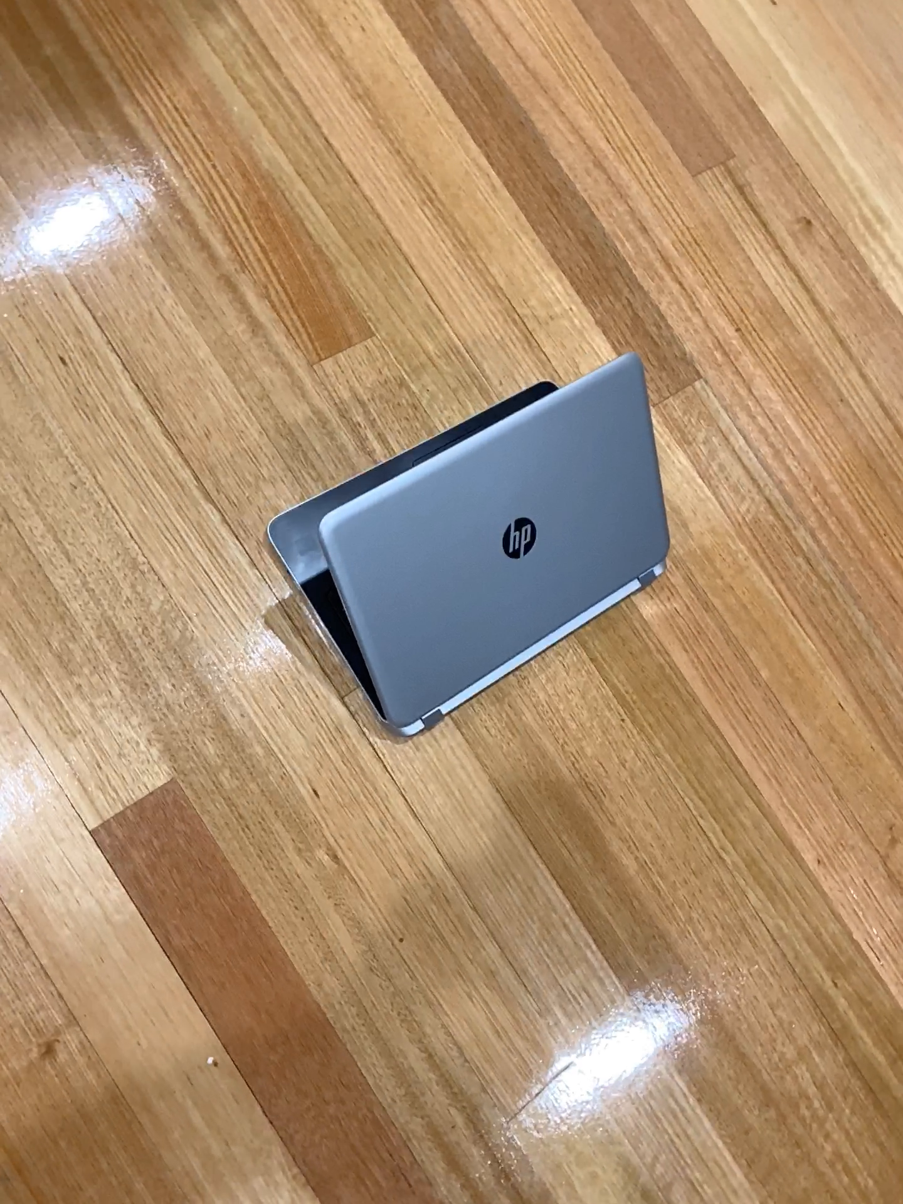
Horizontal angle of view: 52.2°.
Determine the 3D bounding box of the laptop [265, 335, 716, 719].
[{"bbox_3d":[0.039,-0.071,0.844,0.333,0.102,0.209,-31,88,-21],"label":"laptop"}]
